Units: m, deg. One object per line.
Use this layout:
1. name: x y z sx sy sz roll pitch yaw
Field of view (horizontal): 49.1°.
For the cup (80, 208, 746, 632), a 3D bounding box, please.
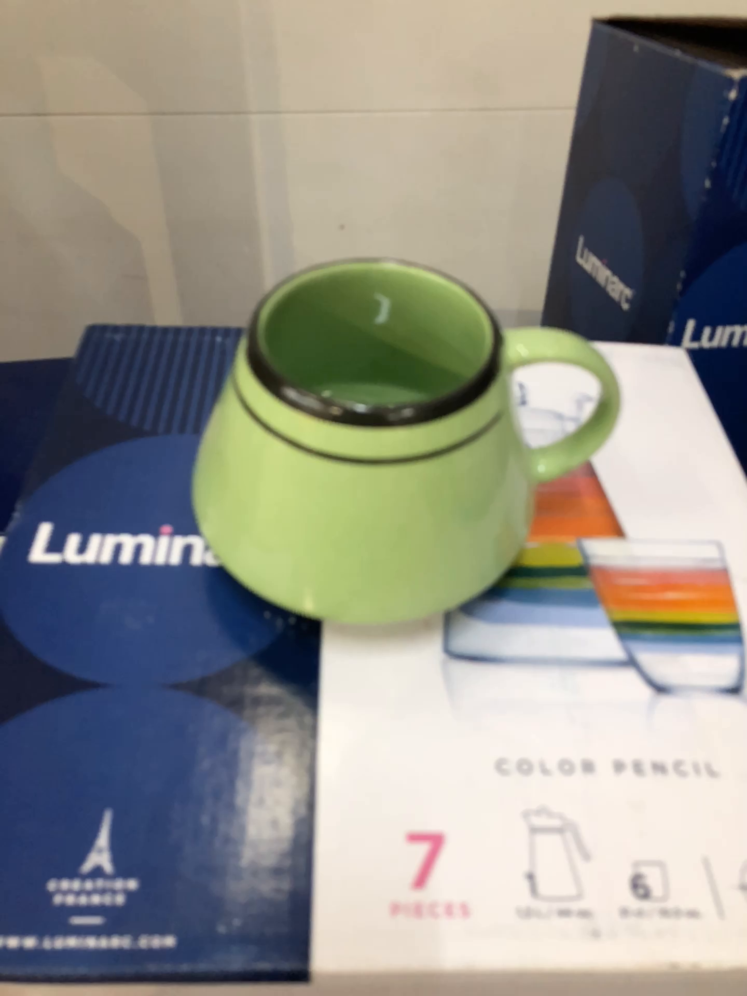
1. cup: 0.008 -0.028 0.236 0.140 0.070 0.111 -1 41 -1
